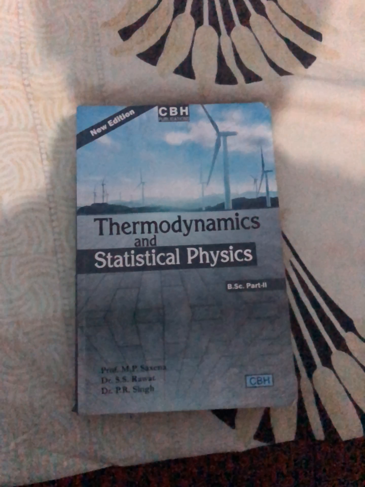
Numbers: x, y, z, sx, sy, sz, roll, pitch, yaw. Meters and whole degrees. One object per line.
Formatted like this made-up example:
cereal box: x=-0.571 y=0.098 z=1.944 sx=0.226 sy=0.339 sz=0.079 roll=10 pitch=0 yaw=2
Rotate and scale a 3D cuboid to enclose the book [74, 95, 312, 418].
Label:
book: x=0.004 y=0.006 z=0.328 sx=0.170 sy=0.030 sz=0.240 roll=-3 pitch=84 yaw=-1
